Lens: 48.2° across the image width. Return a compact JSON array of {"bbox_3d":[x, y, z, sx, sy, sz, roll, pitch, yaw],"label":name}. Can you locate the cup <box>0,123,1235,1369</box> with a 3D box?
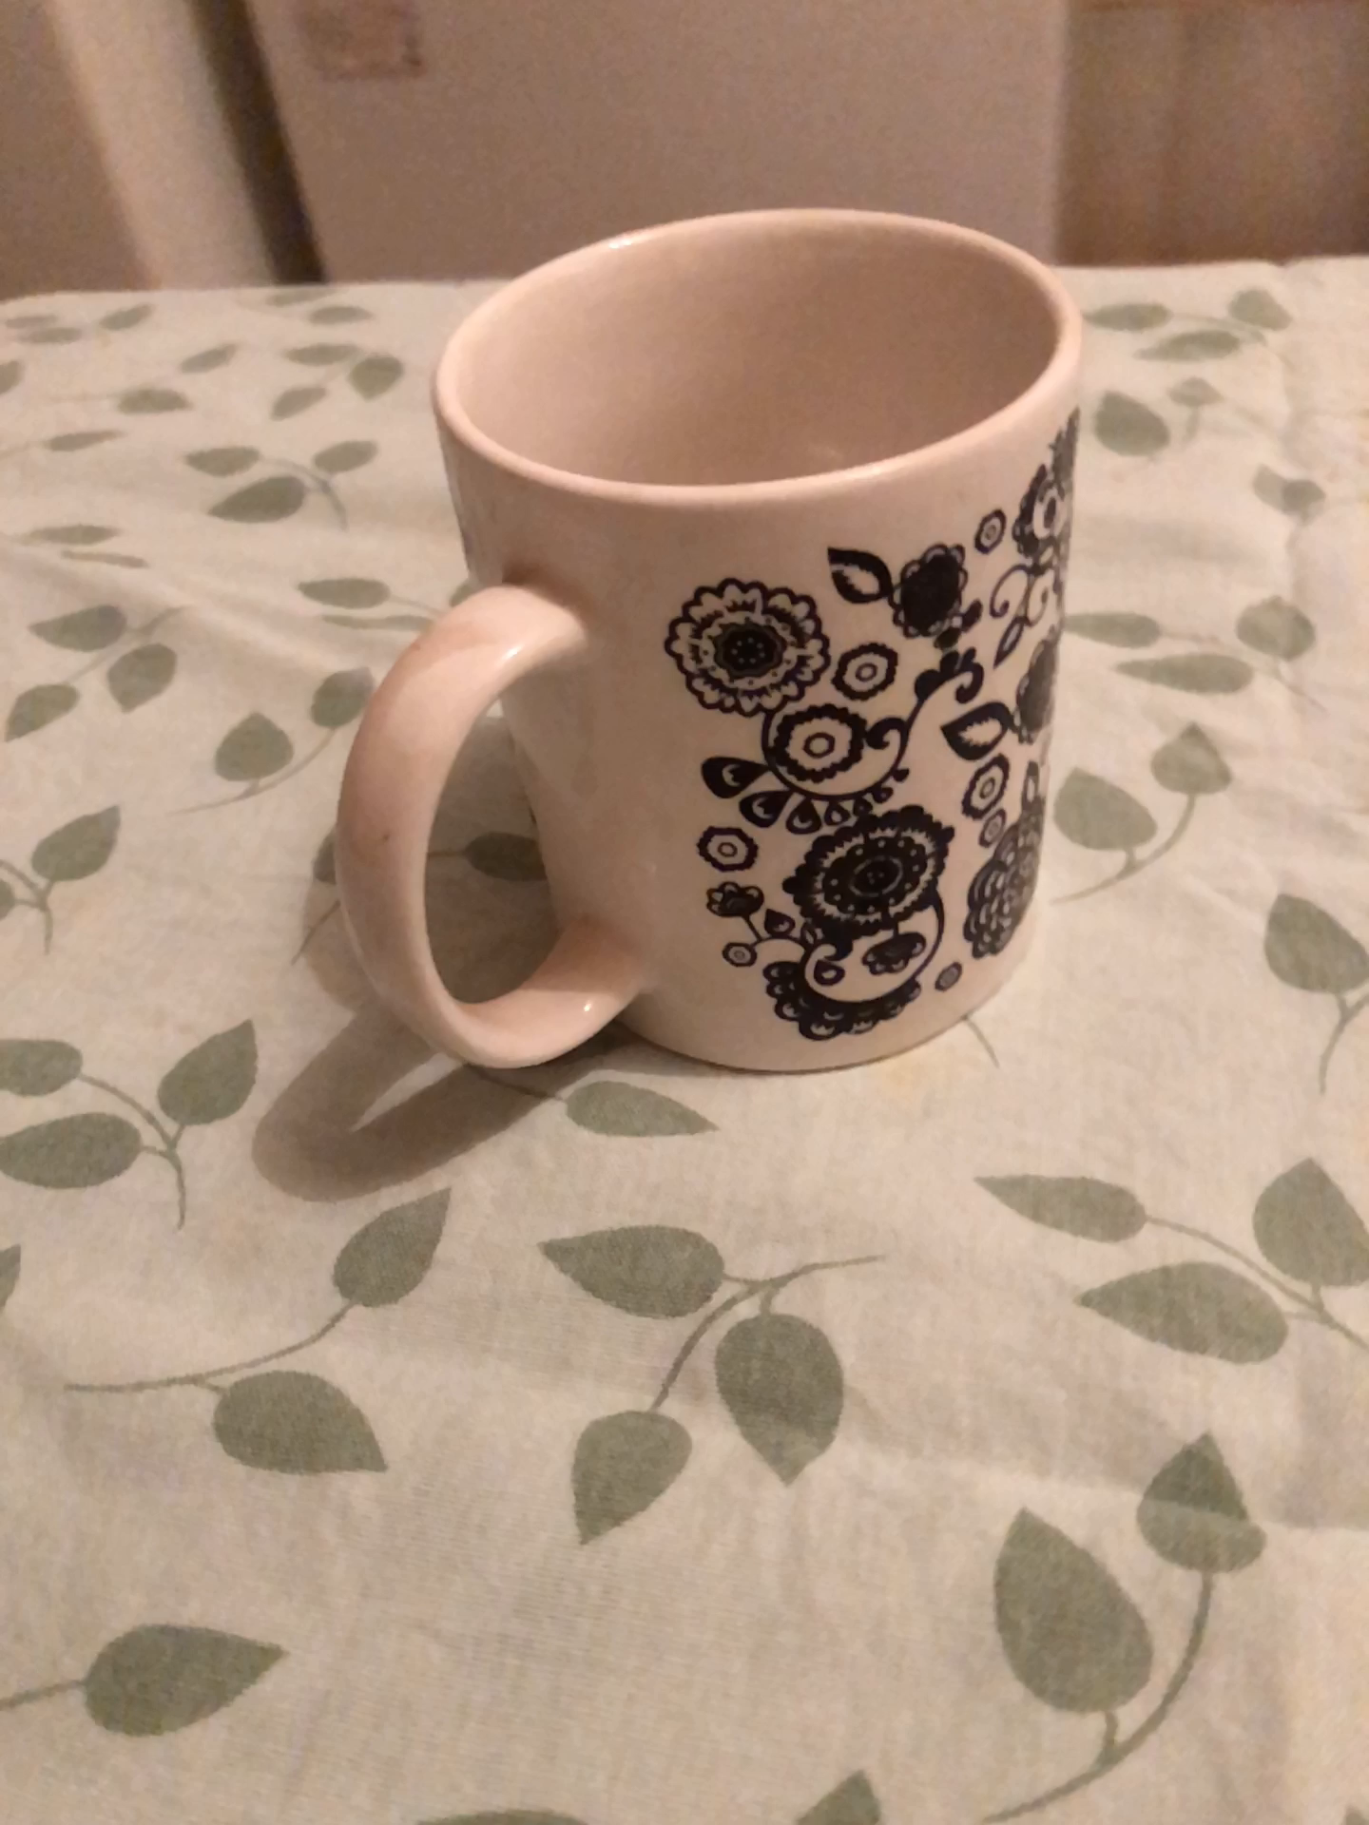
[{"bbox_3d":[0.000,-0.029,0.208,0.080,0.099,0.121,30,56,32],"label":"cup"}]
